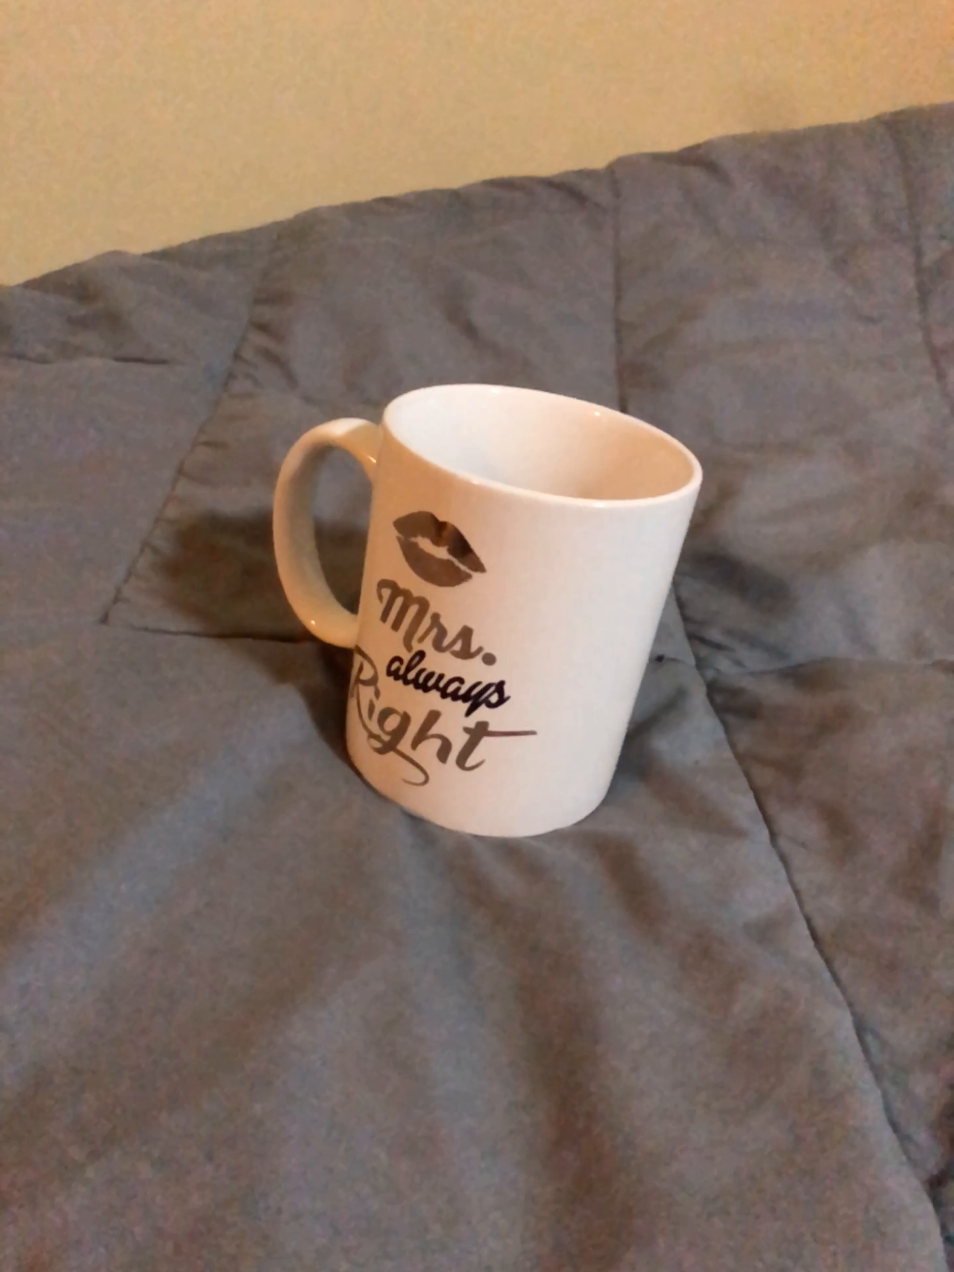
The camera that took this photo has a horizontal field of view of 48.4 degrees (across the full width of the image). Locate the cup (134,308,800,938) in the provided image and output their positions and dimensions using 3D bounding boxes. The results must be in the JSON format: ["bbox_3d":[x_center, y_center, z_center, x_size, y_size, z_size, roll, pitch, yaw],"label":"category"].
[{"bbox_3d":[-0.008,-0.018,0.320,0.150,0.110,0.110,26,34,25],"label":"cup"}]
